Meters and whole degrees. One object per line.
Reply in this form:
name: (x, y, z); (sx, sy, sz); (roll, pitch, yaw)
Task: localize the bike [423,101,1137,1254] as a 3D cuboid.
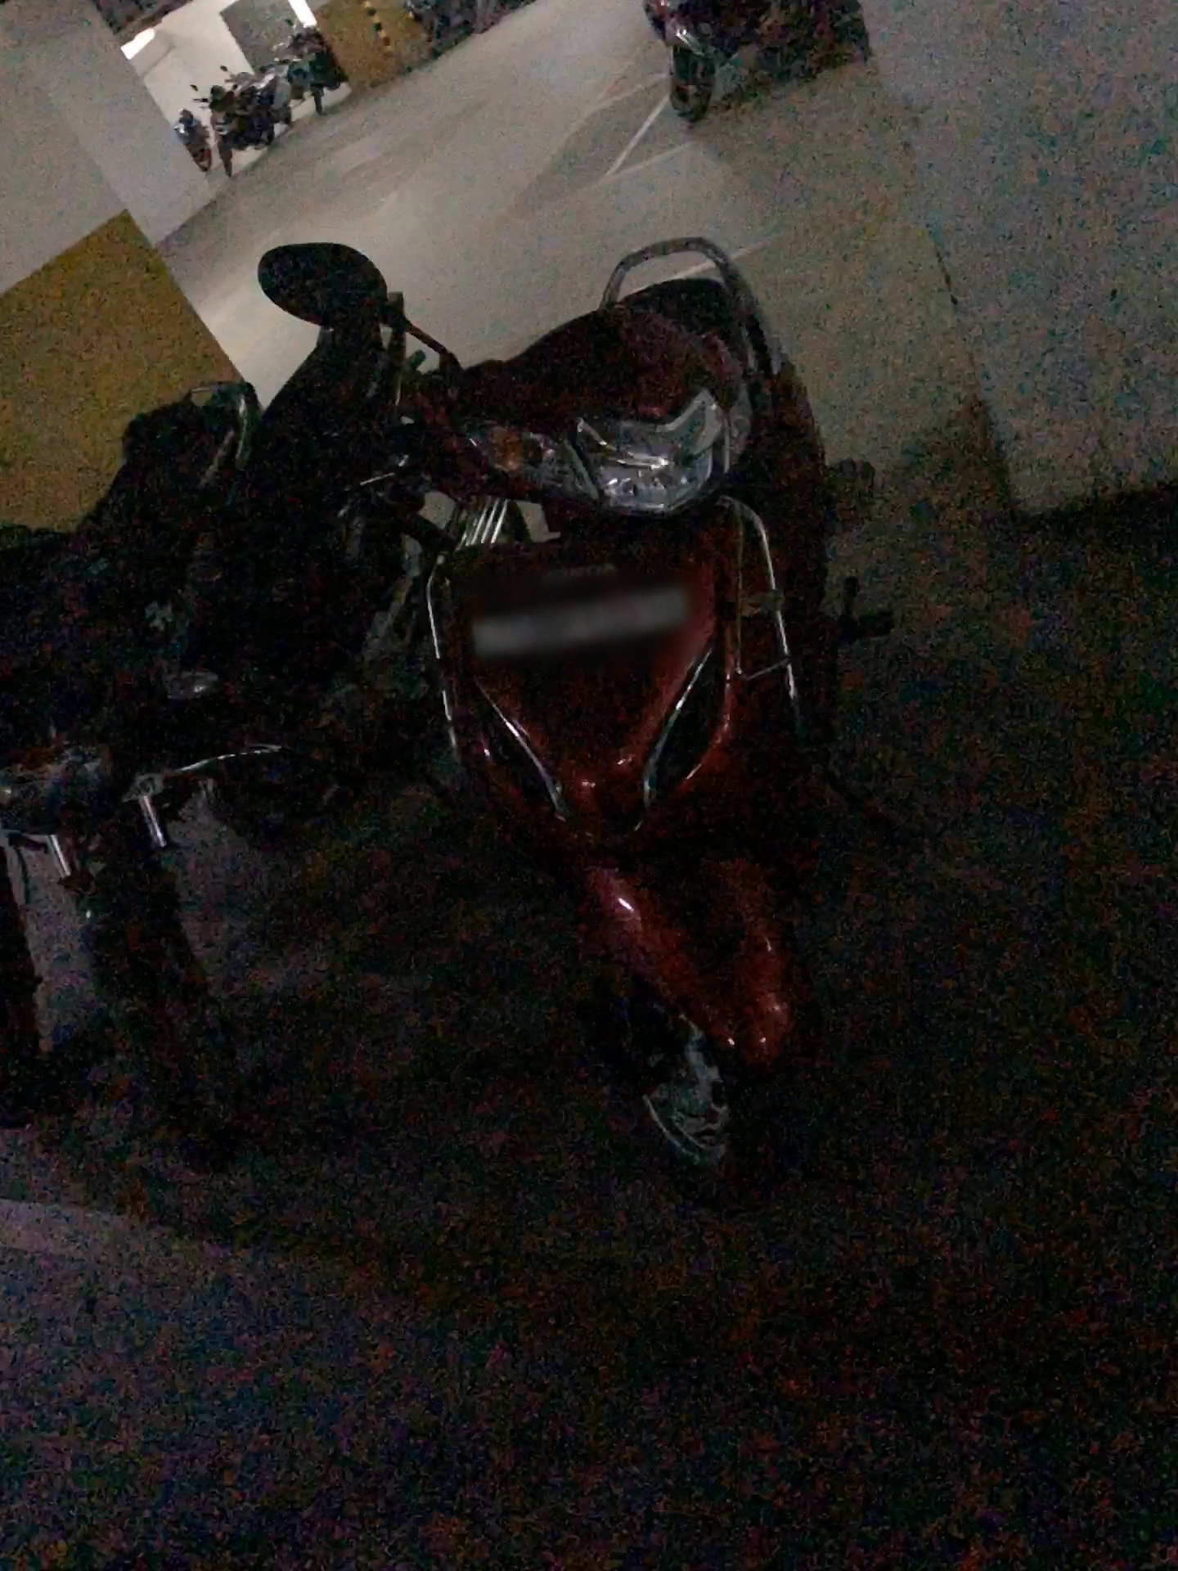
bike: (0.217, -0.232, 1.894); (0.487, 0.908, 1.397); (-23, 44, 15)
